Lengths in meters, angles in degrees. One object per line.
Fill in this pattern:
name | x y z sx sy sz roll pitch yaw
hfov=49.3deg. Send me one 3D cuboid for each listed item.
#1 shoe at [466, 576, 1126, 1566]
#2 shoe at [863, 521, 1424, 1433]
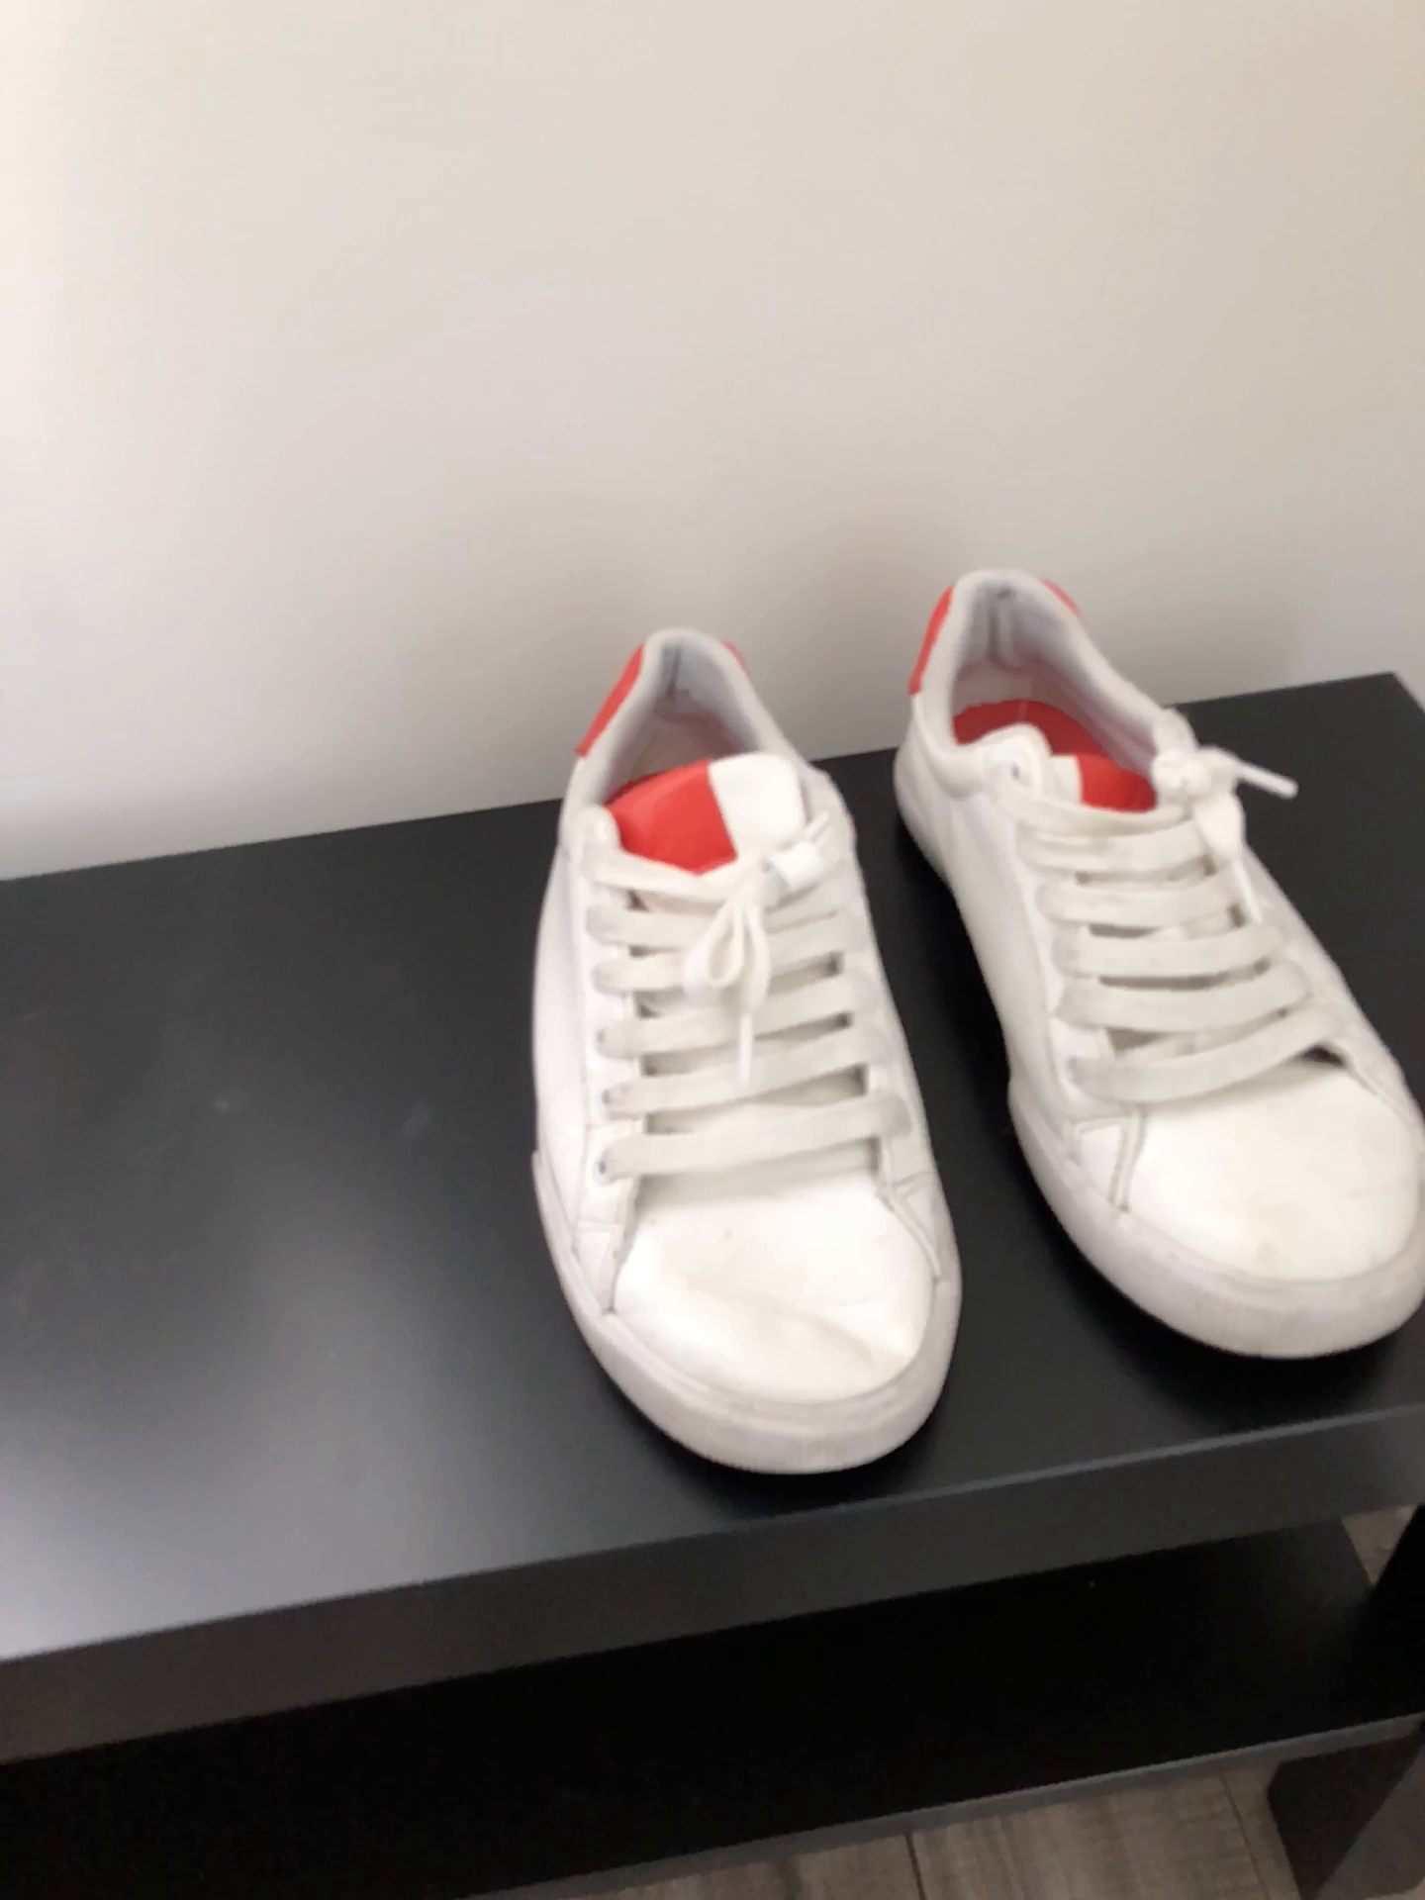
shoe | 0.004 0.010 0.381 0.102 0.080 0.236 -10 44 -5
shoe | 0.115 -0.011 0.394 0.100 0.080 0.231 -10 44 -5
